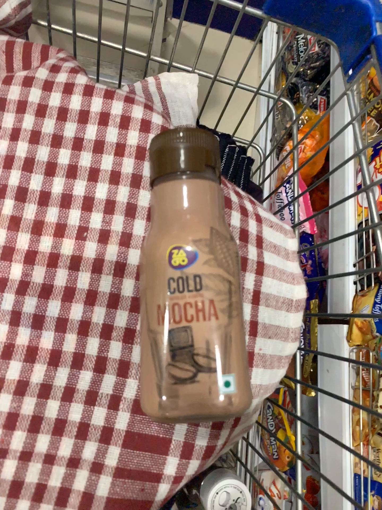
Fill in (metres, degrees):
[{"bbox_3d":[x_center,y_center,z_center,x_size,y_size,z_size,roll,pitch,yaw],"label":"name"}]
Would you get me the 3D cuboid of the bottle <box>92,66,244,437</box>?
[{"bbox_3d":[-0.012,-0.002,0.216,0.060,0.070,0.170,-4,82,1],"label":"bottle"}]
